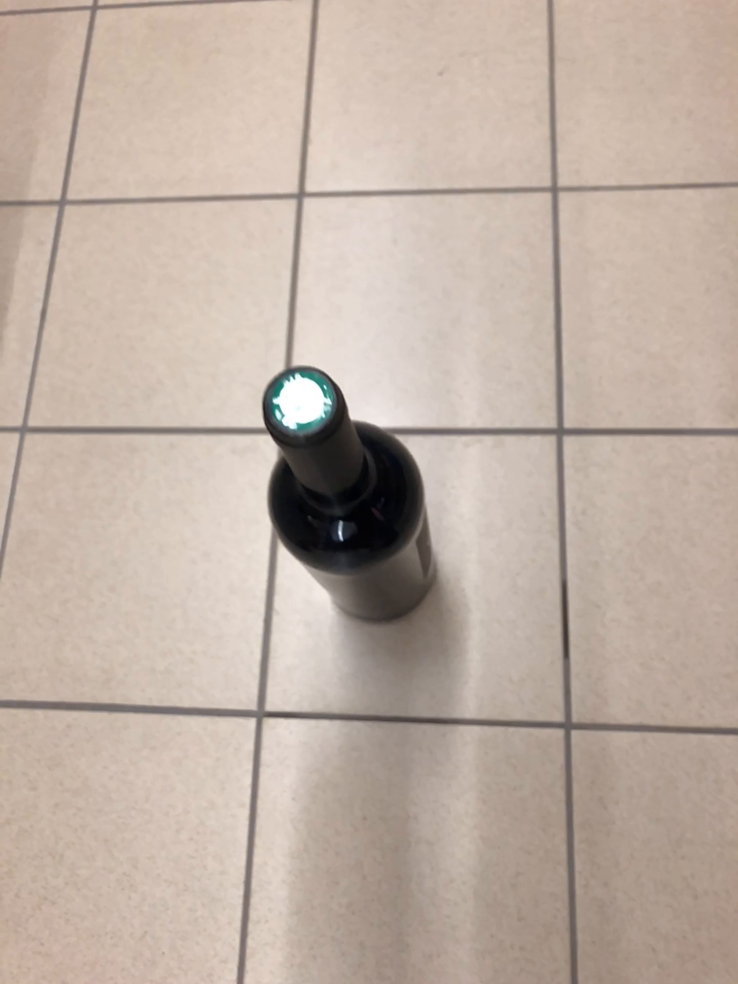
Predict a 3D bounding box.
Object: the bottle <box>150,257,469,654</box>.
[{"bbox_3d":[-0.009,0.011,0.419,0.090,0.290,0.090,-2,73,5],"label":"bottle"}]
